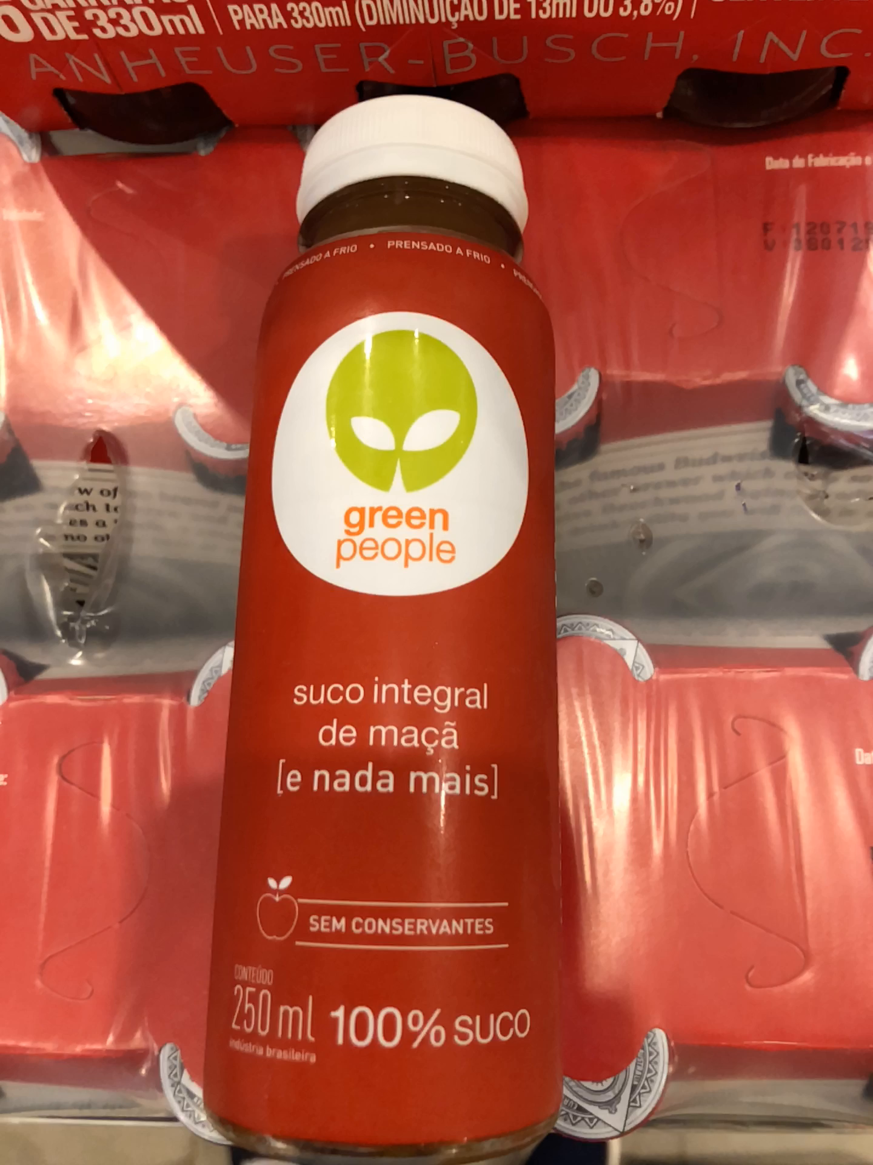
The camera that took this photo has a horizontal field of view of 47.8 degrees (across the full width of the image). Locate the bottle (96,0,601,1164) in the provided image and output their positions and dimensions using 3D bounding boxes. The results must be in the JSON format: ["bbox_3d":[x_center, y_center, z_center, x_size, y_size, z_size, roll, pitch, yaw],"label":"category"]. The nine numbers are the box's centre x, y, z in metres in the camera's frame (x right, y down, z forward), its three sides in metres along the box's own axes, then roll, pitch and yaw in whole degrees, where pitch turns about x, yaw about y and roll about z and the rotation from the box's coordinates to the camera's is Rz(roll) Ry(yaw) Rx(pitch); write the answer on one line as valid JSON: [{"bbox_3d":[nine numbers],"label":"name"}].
[{"bbox_3d":[-0.007,-0.012,0.155,0.060,0.040,0.180,0,77,5],"label":"bottle"}]
